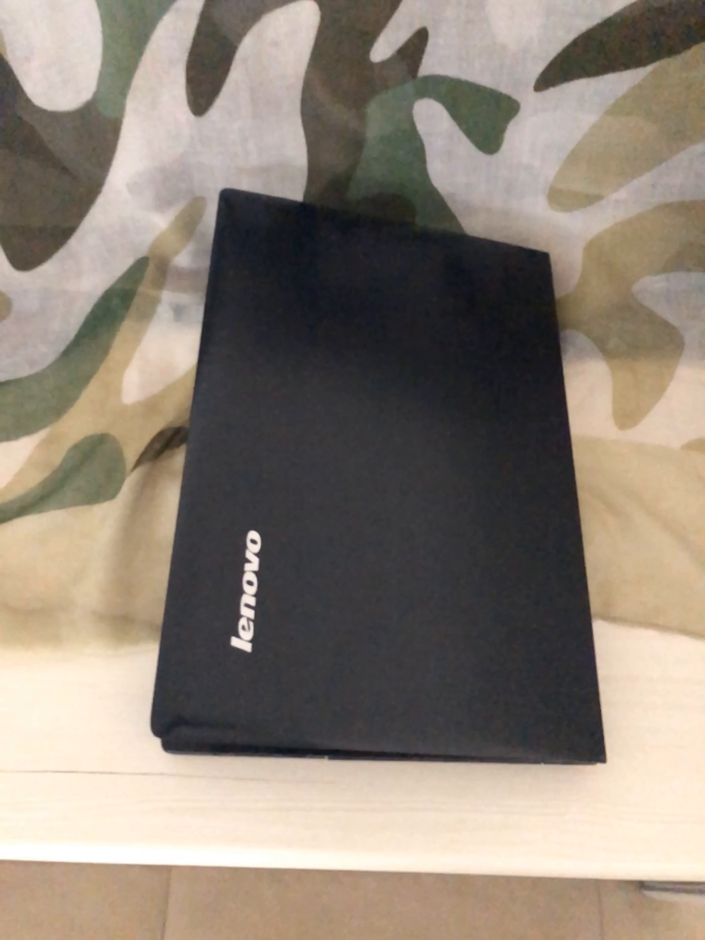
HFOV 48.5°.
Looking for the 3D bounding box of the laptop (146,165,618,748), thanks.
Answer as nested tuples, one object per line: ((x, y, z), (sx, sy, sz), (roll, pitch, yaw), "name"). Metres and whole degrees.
((0.024, -0.028, 0.521), (0.249, 0.059, 0.386), (3, 64, -3), "laptop")
